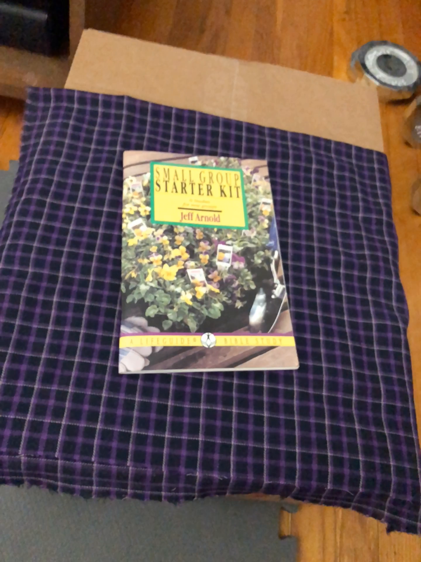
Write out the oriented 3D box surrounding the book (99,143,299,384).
[{"bbox_3d":[-0.013,-0.025,0.399,0.150,0.010,0.221,1,63,-10],"label":"book"}]
